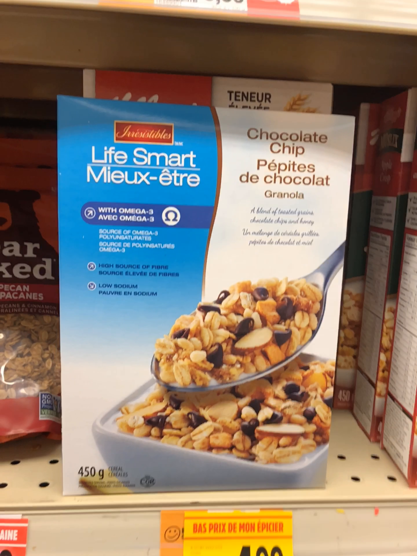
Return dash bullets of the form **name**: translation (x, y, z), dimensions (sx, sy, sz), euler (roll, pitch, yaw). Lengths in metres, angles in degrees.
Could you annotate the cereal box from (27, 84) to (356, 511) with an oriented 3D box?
- **cereal box**: translation (-0.013, 0.015, 0.292), dimensions (0.180, 0.239, 0.050), euler (1, 7, -7)
